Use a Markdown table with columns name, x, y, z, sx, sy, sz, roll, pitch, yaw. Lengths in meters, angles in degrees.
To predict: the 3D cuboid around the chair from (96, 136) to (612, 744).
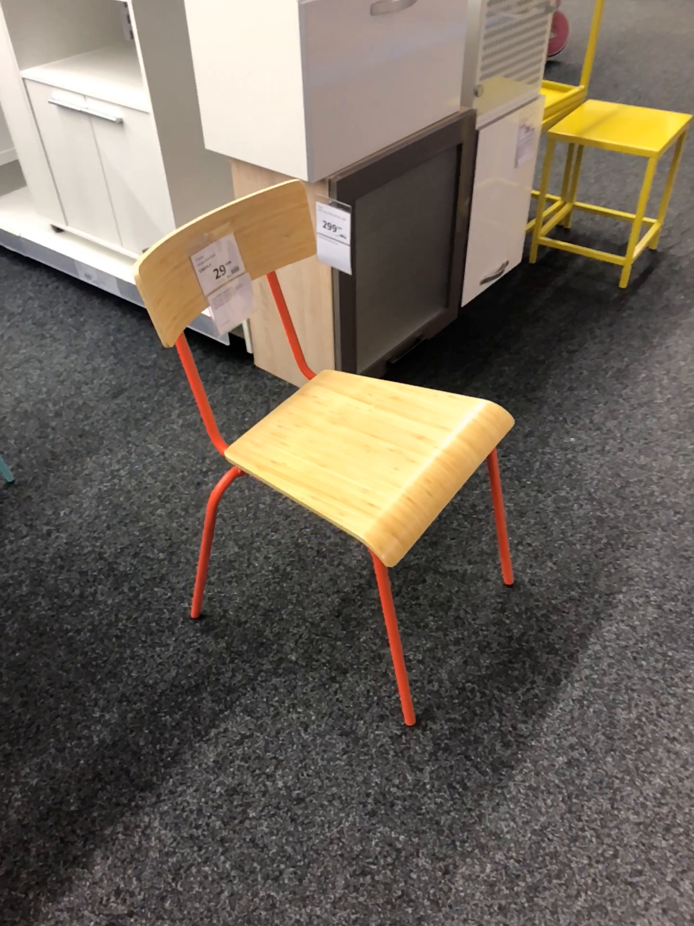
| name | x | y | z | sx | sy | sz | roll | pitch | yaw |
| --- | --- | --- | --- | --- | --- | --- | --- | --- | --- |
| chair | 0.032 | -0.043 | 1.366 | 0.560 | 0.816 | 0.503 | 24 | 48 | 27 |
